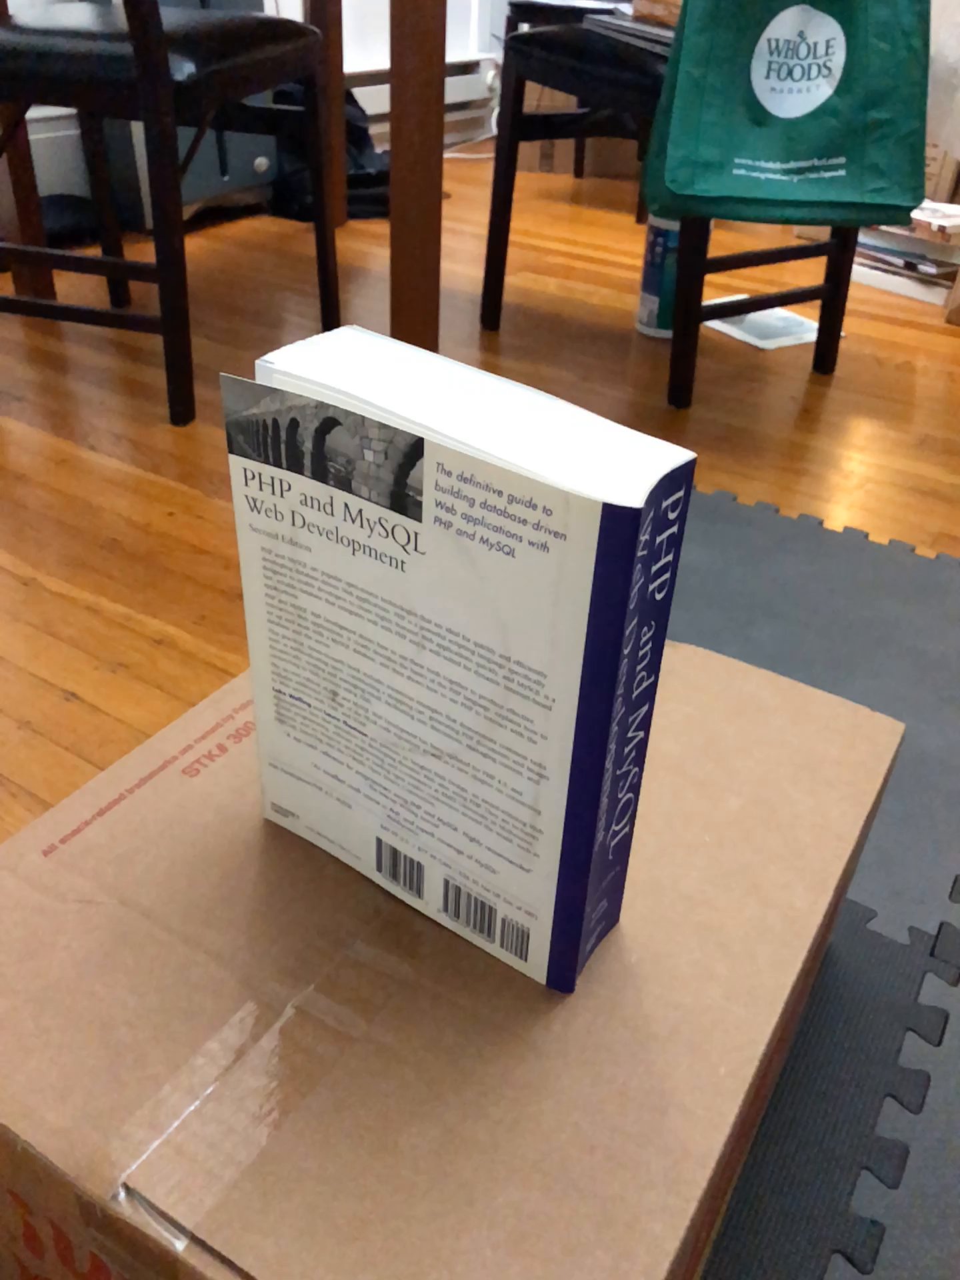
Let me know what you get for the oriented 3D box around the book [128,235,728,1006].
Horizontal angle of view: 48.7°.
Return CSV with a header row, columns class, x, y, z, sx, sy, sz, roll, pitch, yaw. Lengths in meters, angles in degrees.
class,x,y,z,sx,sy,sz,roll,pitch,yaw
book,-0.030,-0.012,0.446,0.200,0.258,0.090,23,37,27
